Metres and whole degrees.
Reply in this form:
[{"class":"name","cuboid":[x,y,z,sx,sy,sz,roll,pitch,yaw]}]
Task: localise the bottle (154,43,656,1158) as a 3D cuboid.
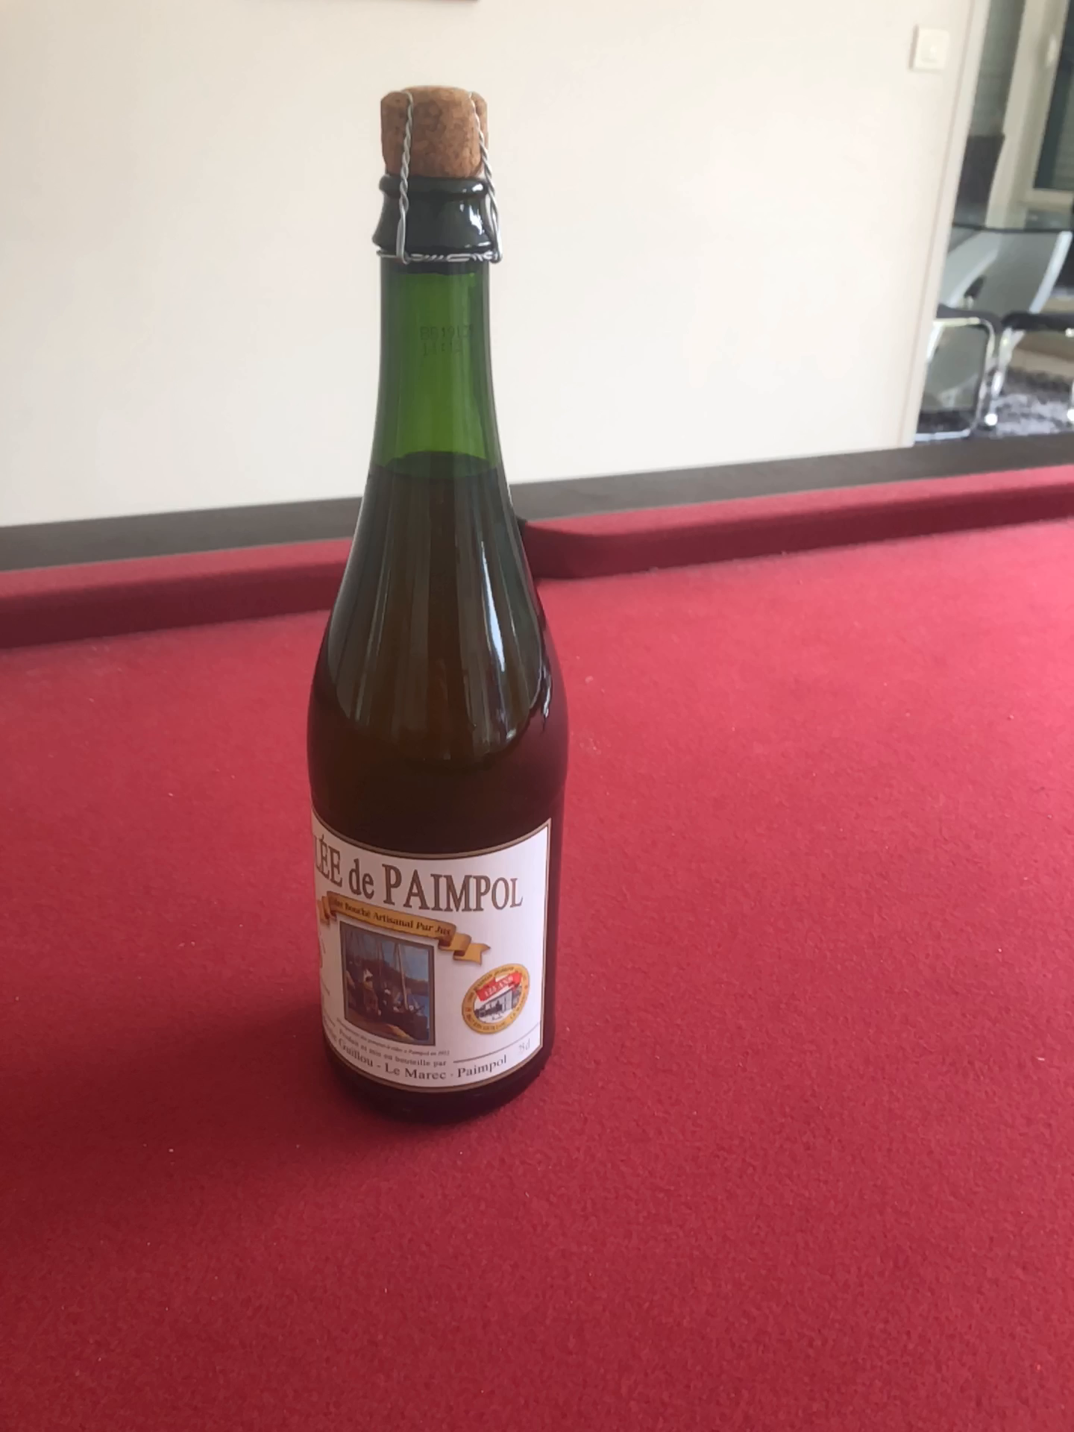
[{"class":"bottle","cuboid":[-0.030,-0.026,0.354,0.090,0.298,0.101,9,27,14]}]
